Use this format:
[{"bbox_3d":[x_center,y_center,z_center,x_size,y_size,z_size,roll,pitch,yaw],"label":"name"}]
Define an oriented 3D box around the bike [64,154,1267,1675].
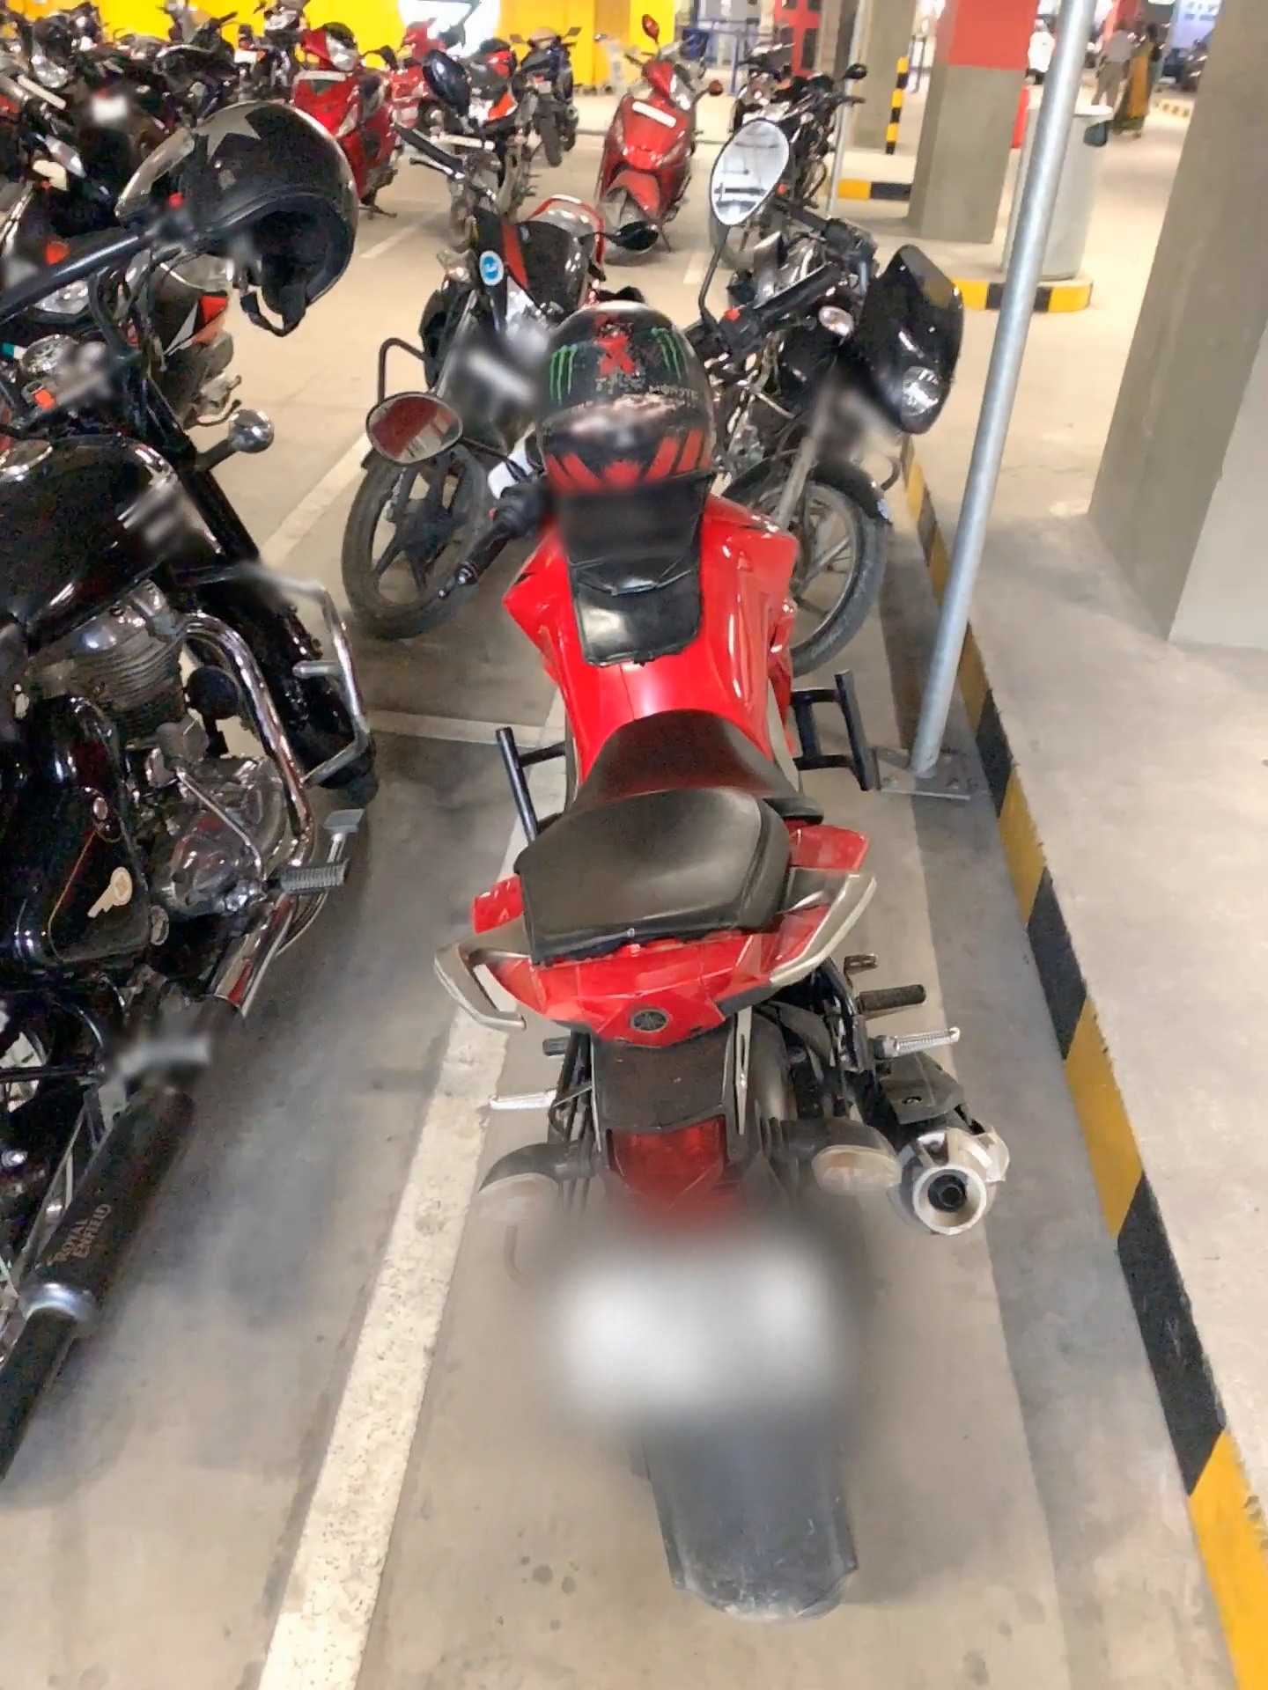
[{"bbox_3d":[-0.135,-0.120,1.687,0.676,1.122,1.692,-2,35,-9],"label":"bike"}]
